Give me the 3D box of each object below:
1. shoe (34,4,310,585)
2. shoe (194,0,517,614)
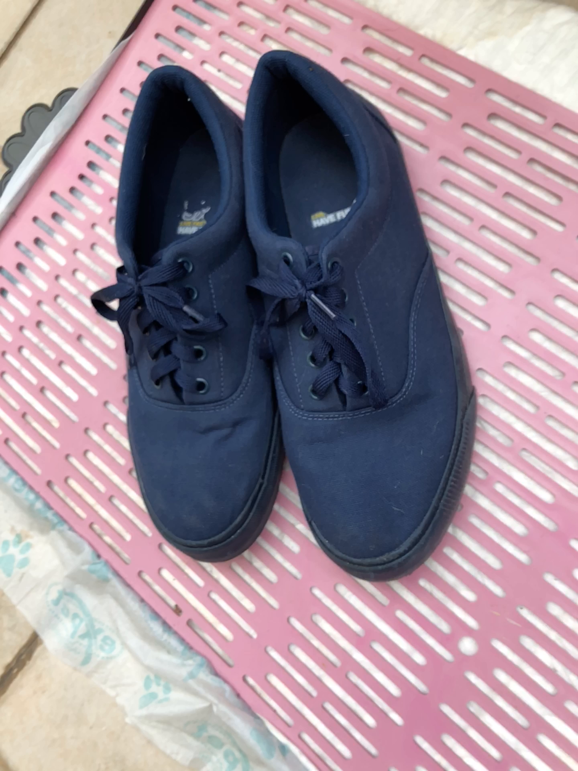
[{"bbox_3d":[-0.056,-0.040,0.354,0.107,0.100,0.270,-4,82,18],"label":"shoe"},{"bbox_3d":[0.035,-0.037,0.331,0.107,0.100,0.270,-10,80,17],"label":"shoe"}]
